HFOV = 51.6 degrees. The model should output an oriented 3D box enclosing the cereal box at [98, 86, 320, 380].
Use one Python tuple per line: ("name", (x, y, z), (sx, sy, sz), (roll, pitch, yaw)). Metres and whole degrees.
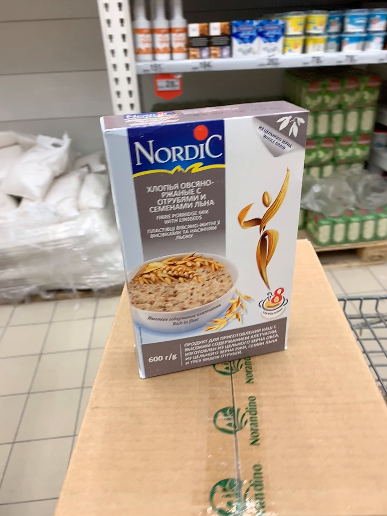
("cereal box", (0.014, -0.011, 0.348), (0.150, 0.239, 0.050), (-9, 32, -10))
